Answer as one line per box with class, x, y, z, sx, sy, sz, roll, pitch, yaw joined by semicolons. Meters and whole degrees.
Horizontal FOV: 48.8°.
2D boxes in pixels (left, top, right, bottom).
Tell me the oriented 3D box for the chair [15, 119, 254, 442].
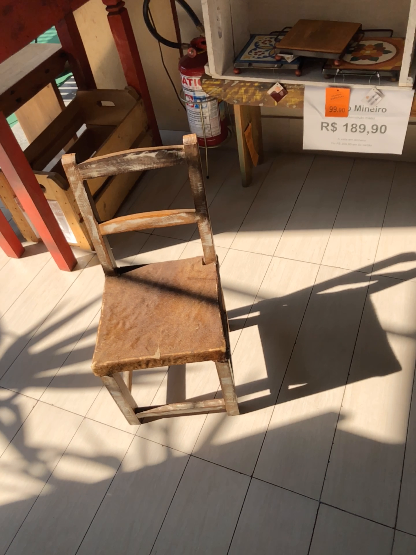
chair;-0.093;0.044;0.977;0.300;0.596;0.343;-7;46;4
